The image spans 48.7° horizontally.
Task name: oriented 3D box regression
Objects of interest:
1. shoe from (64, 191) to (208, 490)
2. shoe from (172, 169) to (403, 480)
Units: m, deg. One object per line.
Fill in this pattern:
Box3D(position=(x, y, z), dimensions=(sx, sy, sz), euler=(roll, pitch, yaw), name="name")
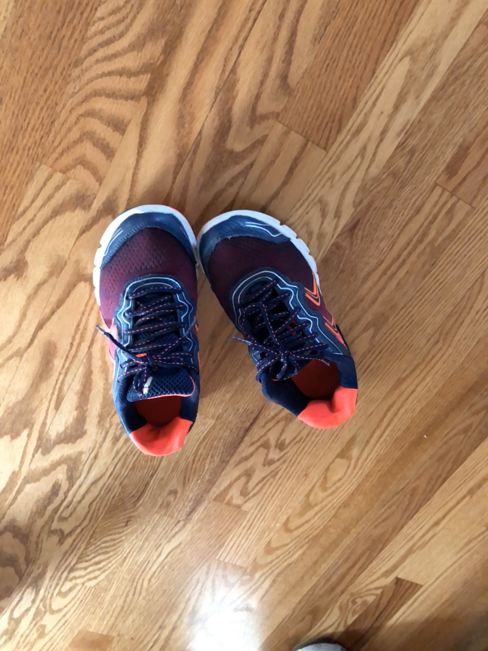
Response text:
Box3D(position=(-0.095, 0.017, 0.530), dimensions=(0.108, 0.109, 0.270), euler=(-2, 118, -7), name="shoe")
Box3D(position=(0.047, 0.006, 0.545), dimensions=(0.116, 0.109, 0.278), euler=(-26, 118, 5), name="shoe")
